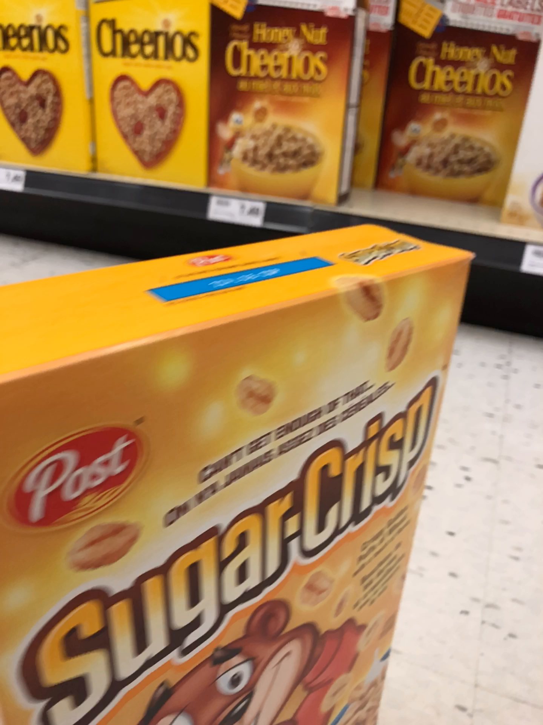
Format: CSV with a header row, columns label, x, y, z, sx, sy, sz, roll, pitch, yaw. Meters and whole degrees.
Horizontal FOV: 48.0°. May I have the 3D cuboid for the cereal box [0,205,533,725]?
label,x,y,z,sx,sy,sz,roll,pitch,yaw
cereal box,-0.011,0.105,0.236,0.211,0.298,0.060,-19,33,-40
